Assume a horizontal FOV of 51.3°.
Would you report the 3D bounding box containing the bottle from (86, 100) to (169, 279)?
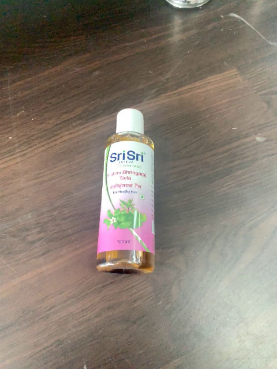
[{"bbox_3d":[-0.005,0.001,0.219,0.050,0.040,0.130,1,66,2],"label":"bottle"}]
